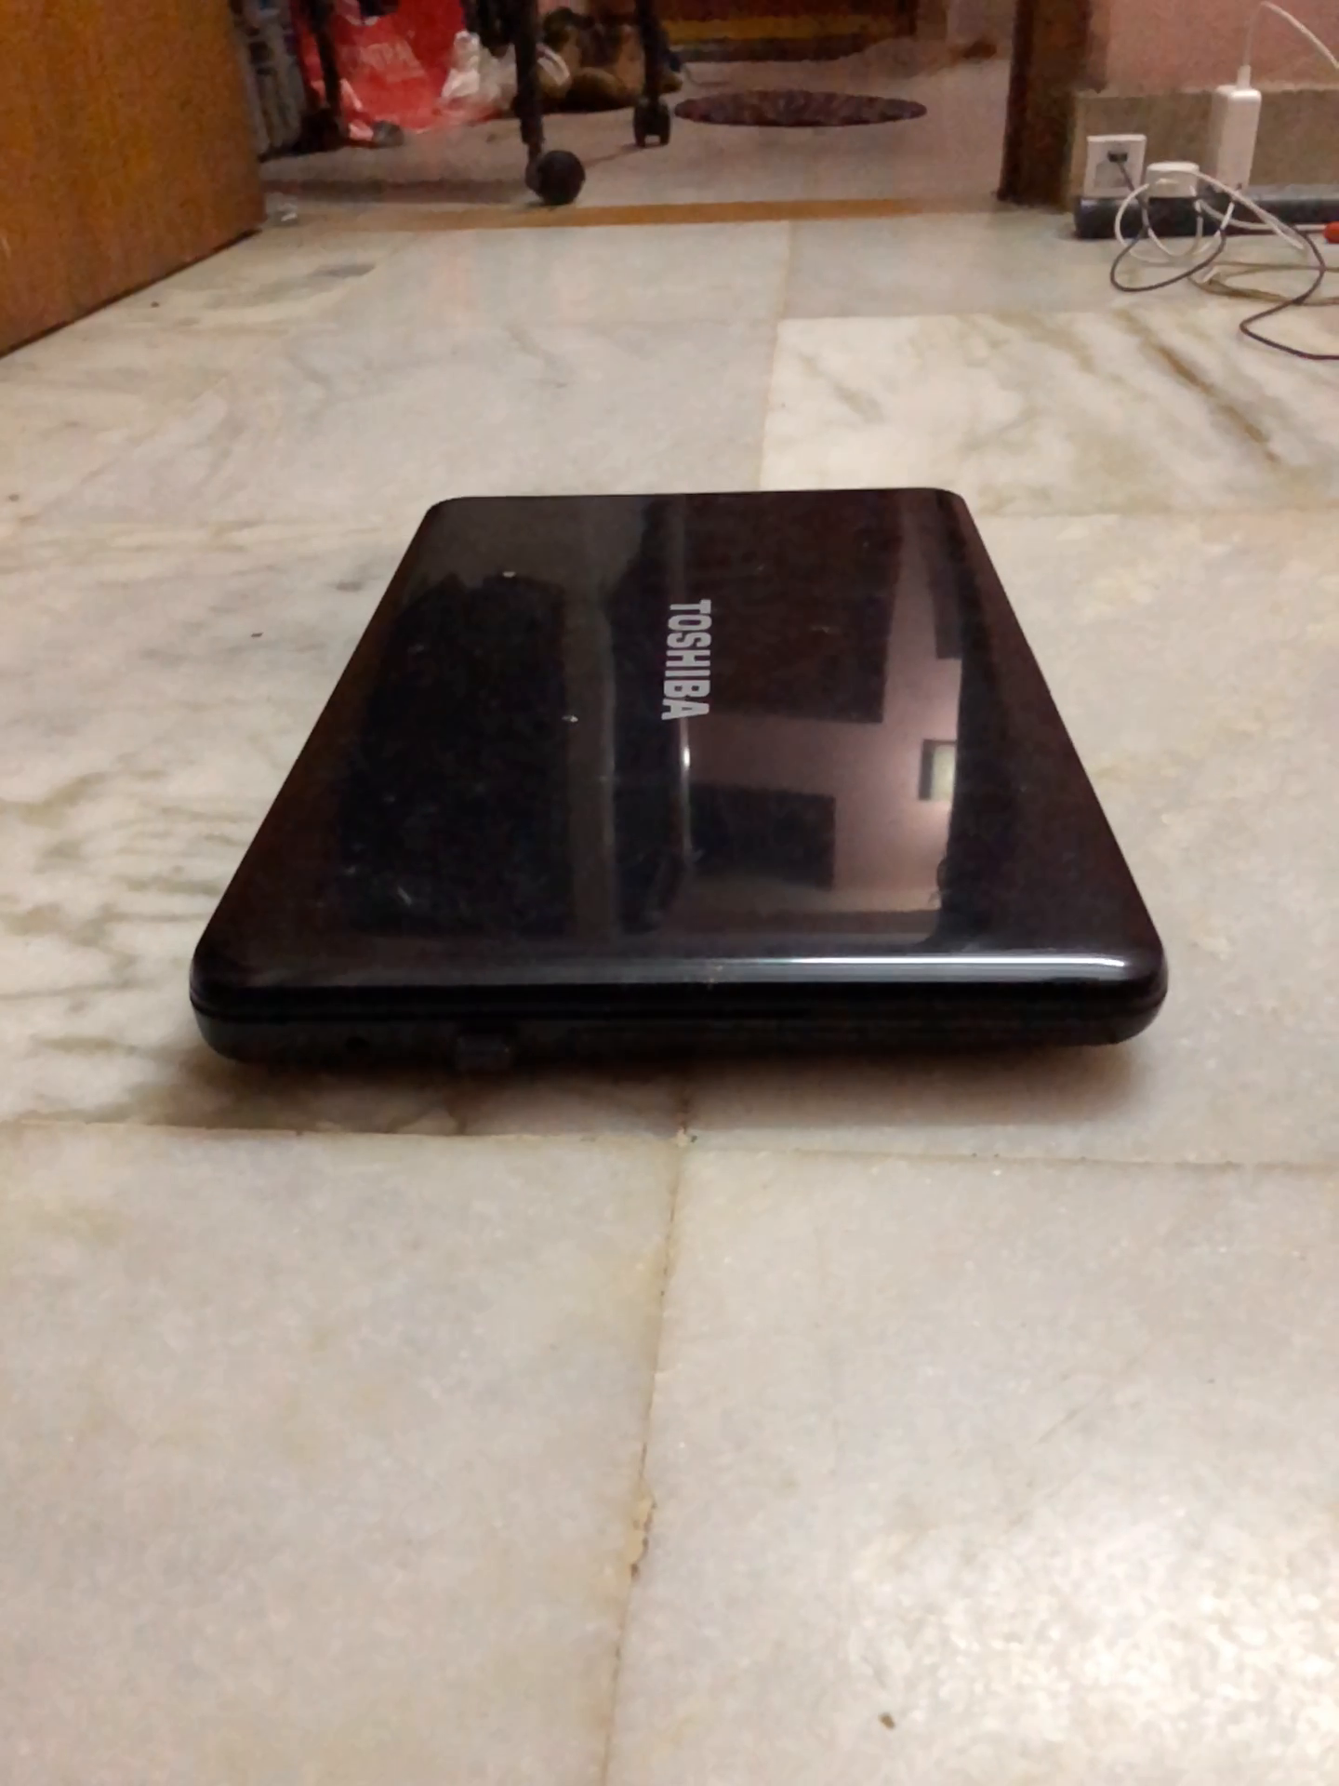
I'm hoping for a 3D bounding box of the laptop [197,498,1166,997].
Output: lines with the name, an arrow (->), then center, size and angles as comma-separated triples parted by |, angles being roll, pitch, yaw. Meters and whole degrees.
laptop -> 0.007, -0.074, 0.495 | 0.224, 0.004, 0.361 | 0, 32, 2
